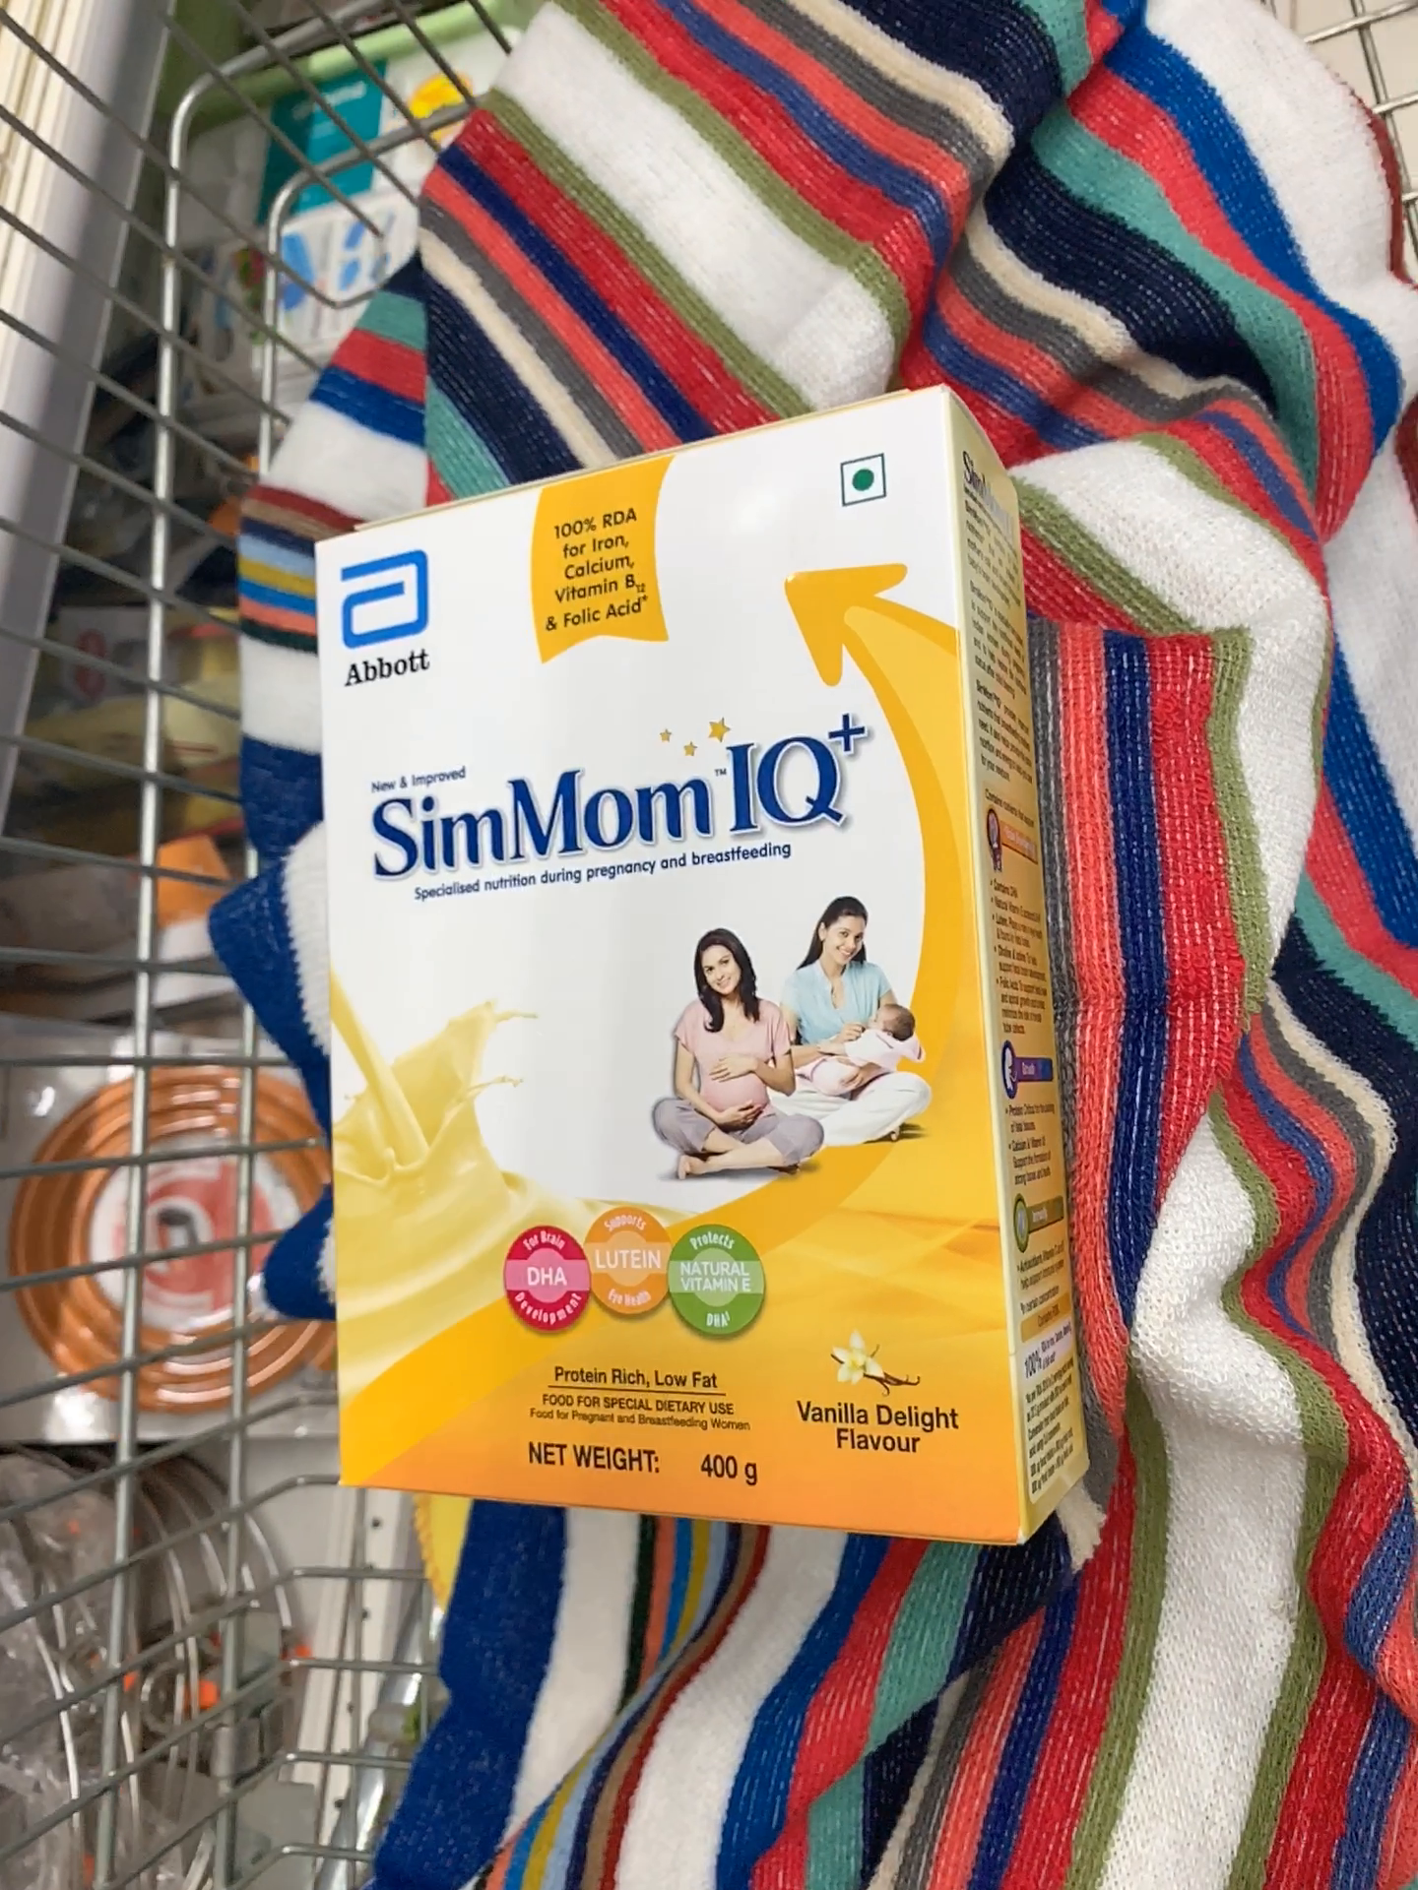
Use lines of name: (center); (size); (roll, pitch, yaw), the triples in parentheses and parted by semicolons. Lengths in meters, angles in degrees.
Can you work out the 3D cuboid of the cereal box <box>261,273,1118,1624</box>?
cereal box: (-0.008, 0.003, 0.268); (0.140, 0.050, 0.200); (-5, 84, 24)
